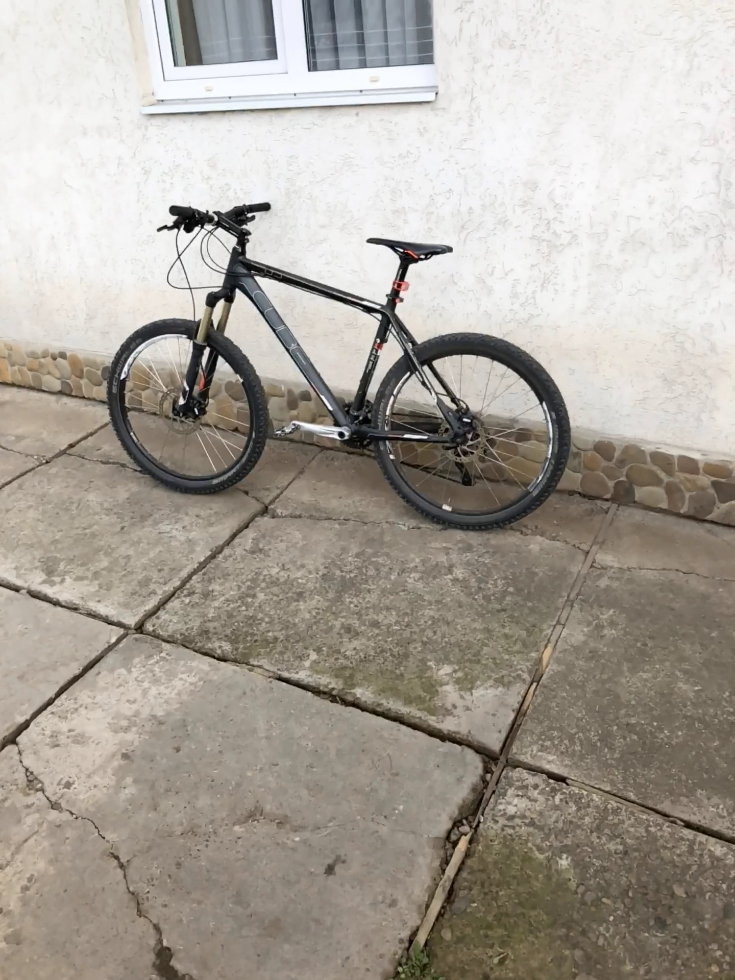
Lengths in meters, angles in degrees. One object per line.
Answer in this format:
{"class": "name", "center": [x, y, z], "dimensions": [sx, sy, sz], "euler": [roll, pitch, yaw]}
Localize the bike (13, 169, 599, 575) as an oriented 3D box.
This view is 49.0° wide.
{"class": "bike", "center": [-0.178, -0.502, 2.889], "dimensions": [1.772, 1.090, 0.690], "euler": [9, 30, 20]}
